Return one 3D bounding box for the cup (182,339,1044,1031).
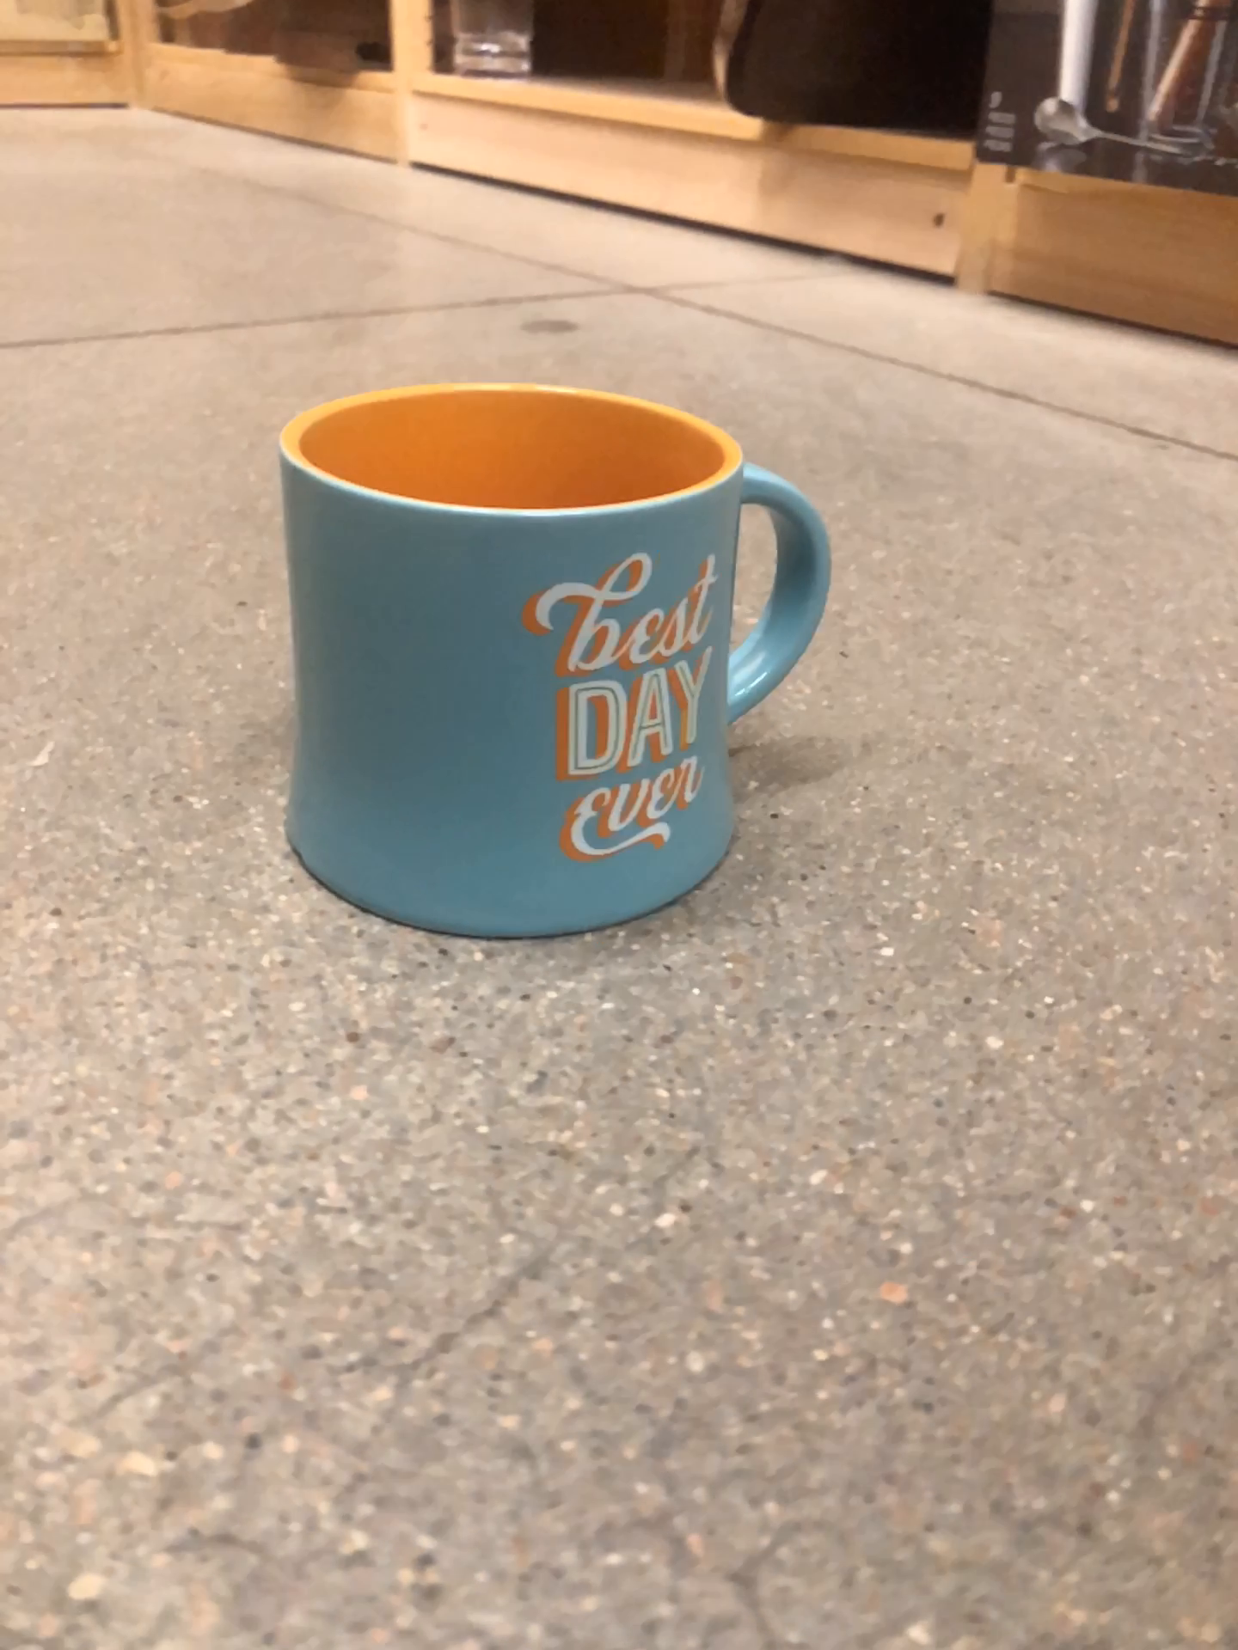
[{"bbox_3d":[-0.006,-0.043,0.306,0.143,0.097,0.107,-14,34,-26],"label":"cup"}]
